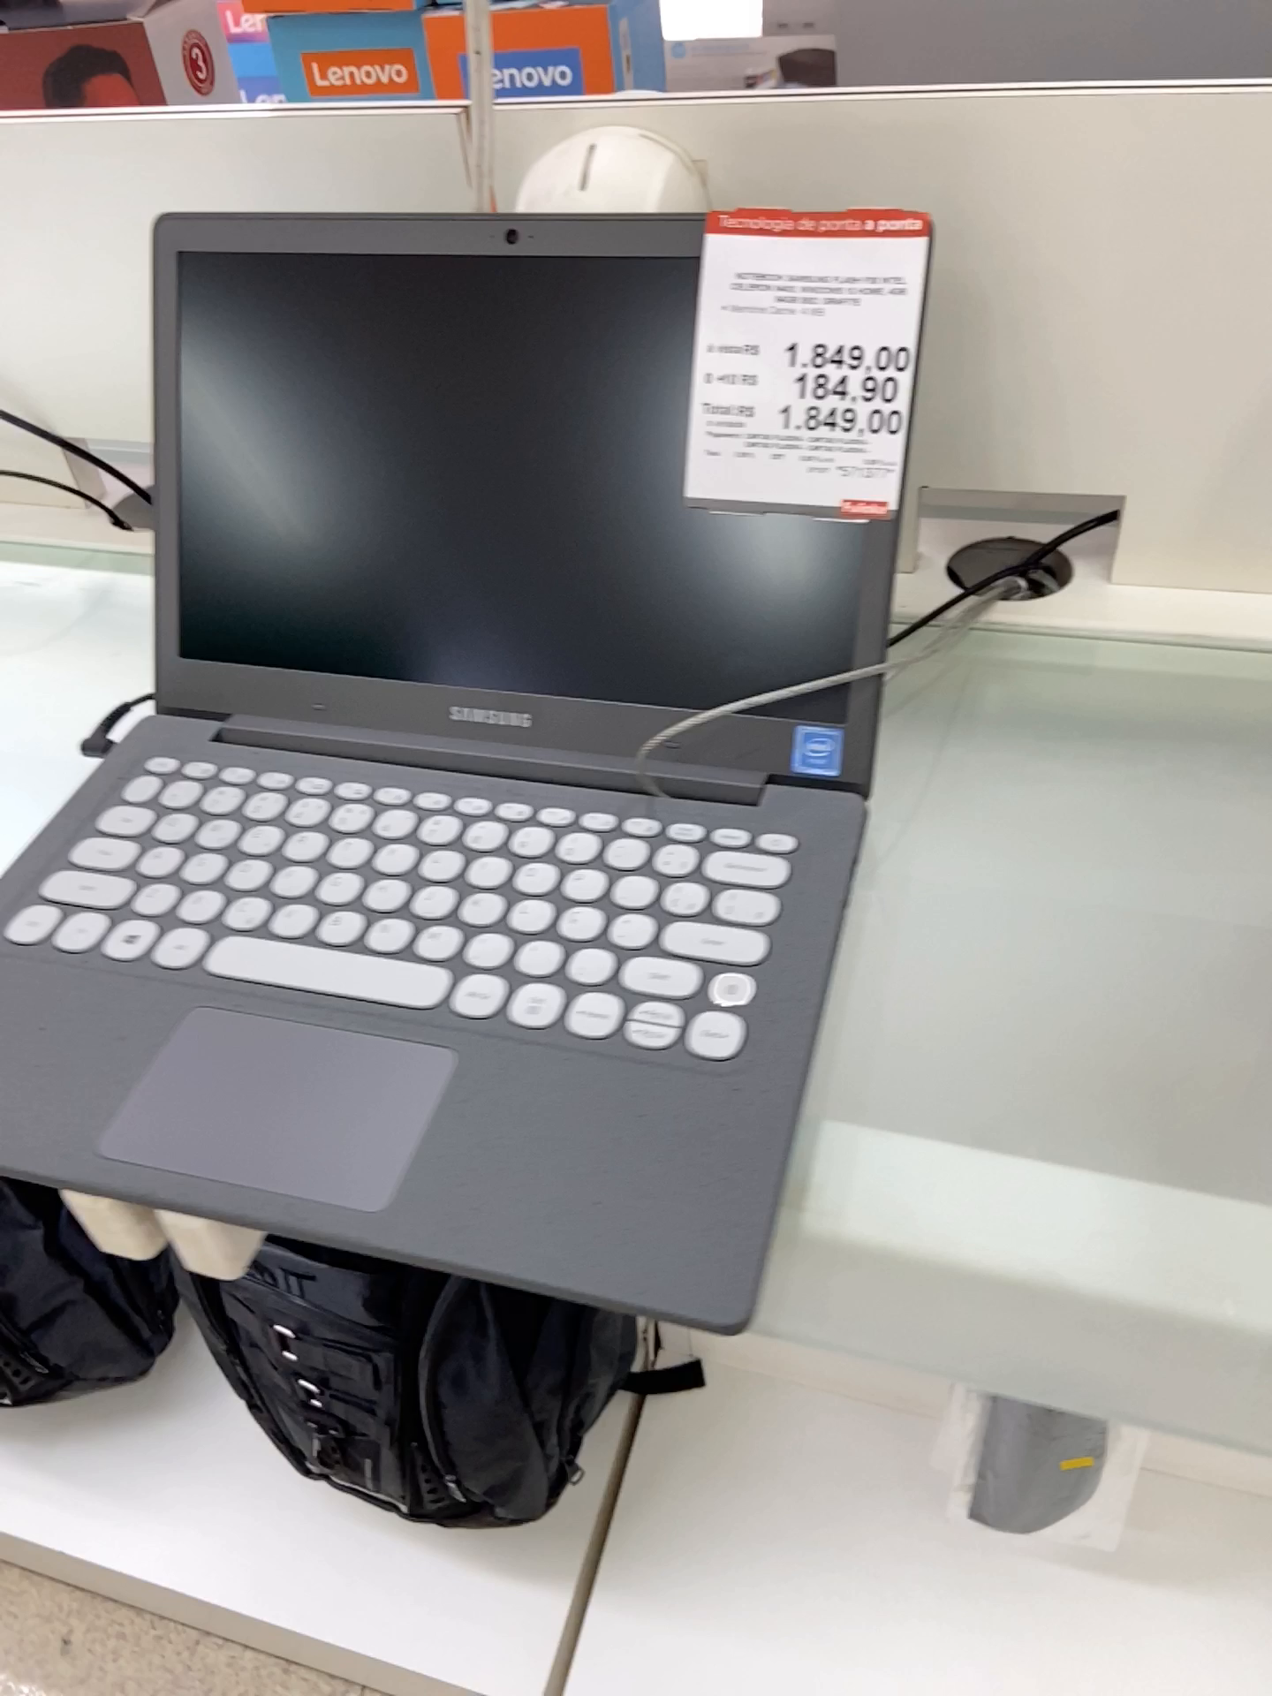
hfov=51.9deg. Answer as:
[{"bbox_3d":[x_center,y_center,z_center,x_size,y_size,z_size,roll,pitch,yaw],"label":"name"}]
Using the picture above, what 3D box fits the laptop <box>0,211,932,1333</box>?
[{"bbox_3d":[-0.088,-0.067,0.453,0.324,0.172,0.342,7,45,16],"label":"laptop"}]
